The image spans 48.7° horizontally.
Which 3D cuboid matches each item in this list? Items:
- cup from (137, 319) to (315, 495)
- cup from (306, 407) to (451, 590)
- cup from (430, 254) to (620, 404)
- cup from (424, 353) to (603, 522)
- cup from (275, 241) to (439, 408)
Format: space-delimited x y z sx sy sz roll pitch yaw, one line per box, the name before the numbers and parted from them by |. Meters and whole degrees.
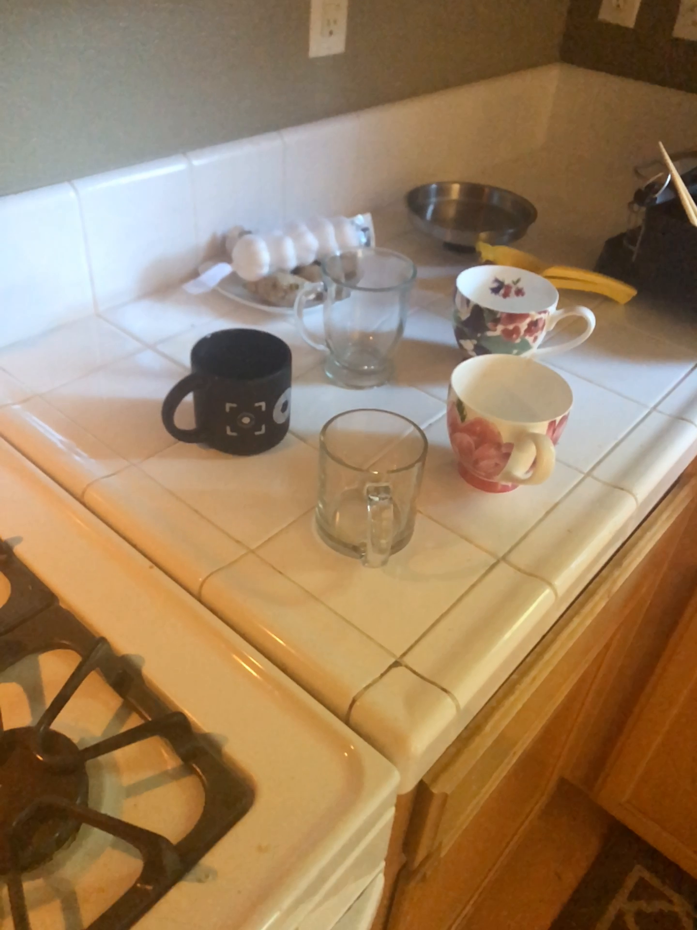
cup | -0.096 -0.050 0.621 0.111 0.079 0.080 -29 50 -35
cup | 0.017 0.023 0.602 0.090 0.079 0.121 -1 40 -8
cup | 0.185 -0.147 0.815 0.160 0.079 0.101 21 42 19
cup | 0.126 -0.025 0.624 0.100 0.069 0.131 0 40 -7
cup | 0.004 -0.140 0.752 0.120 0.109 0.101 -14 43 -22
